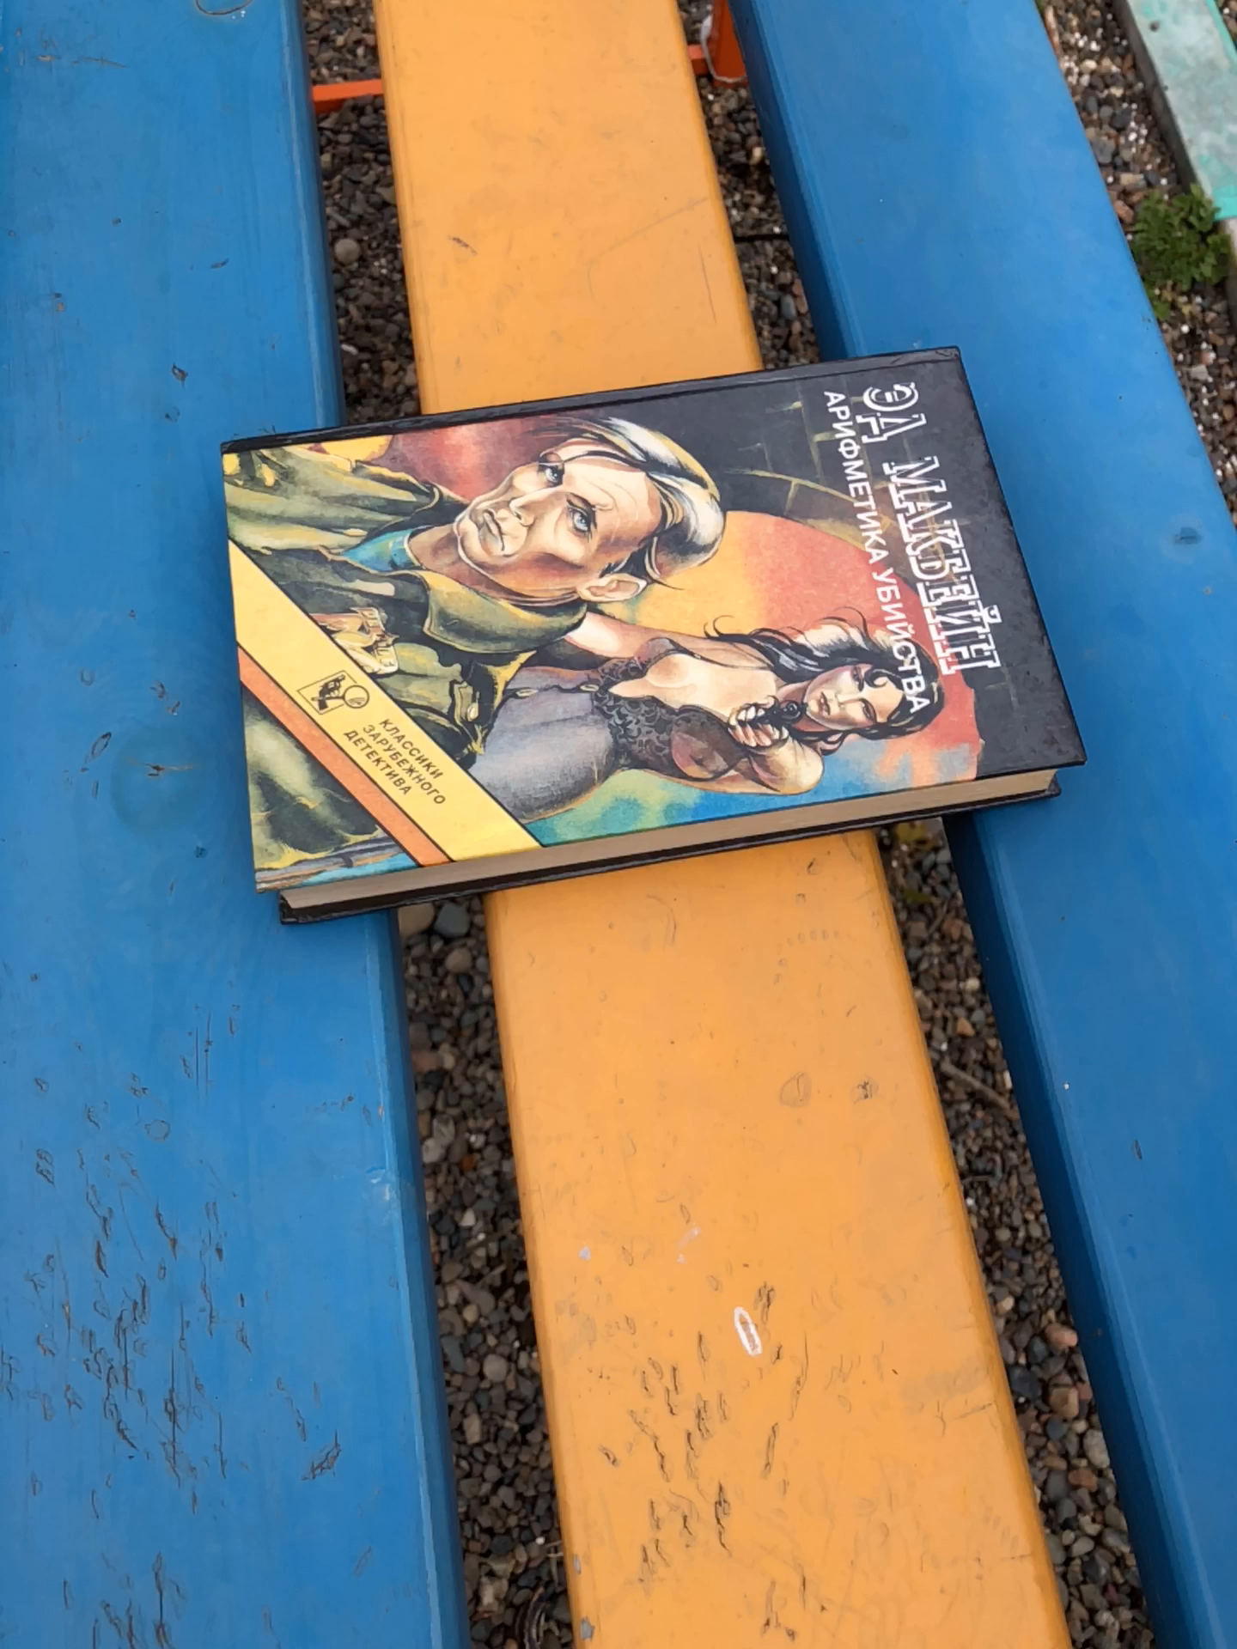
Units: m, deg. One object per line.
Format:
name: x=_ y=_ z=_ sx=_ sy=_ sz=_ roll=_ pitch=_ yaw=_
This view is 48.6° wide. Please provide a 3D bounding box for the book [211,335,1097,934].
book: x=0.004 y=-0.055 z=0.370 sx=0.210 sy=0.030 sz=0.135 roll=-9 pitch=69 yaw=-4
